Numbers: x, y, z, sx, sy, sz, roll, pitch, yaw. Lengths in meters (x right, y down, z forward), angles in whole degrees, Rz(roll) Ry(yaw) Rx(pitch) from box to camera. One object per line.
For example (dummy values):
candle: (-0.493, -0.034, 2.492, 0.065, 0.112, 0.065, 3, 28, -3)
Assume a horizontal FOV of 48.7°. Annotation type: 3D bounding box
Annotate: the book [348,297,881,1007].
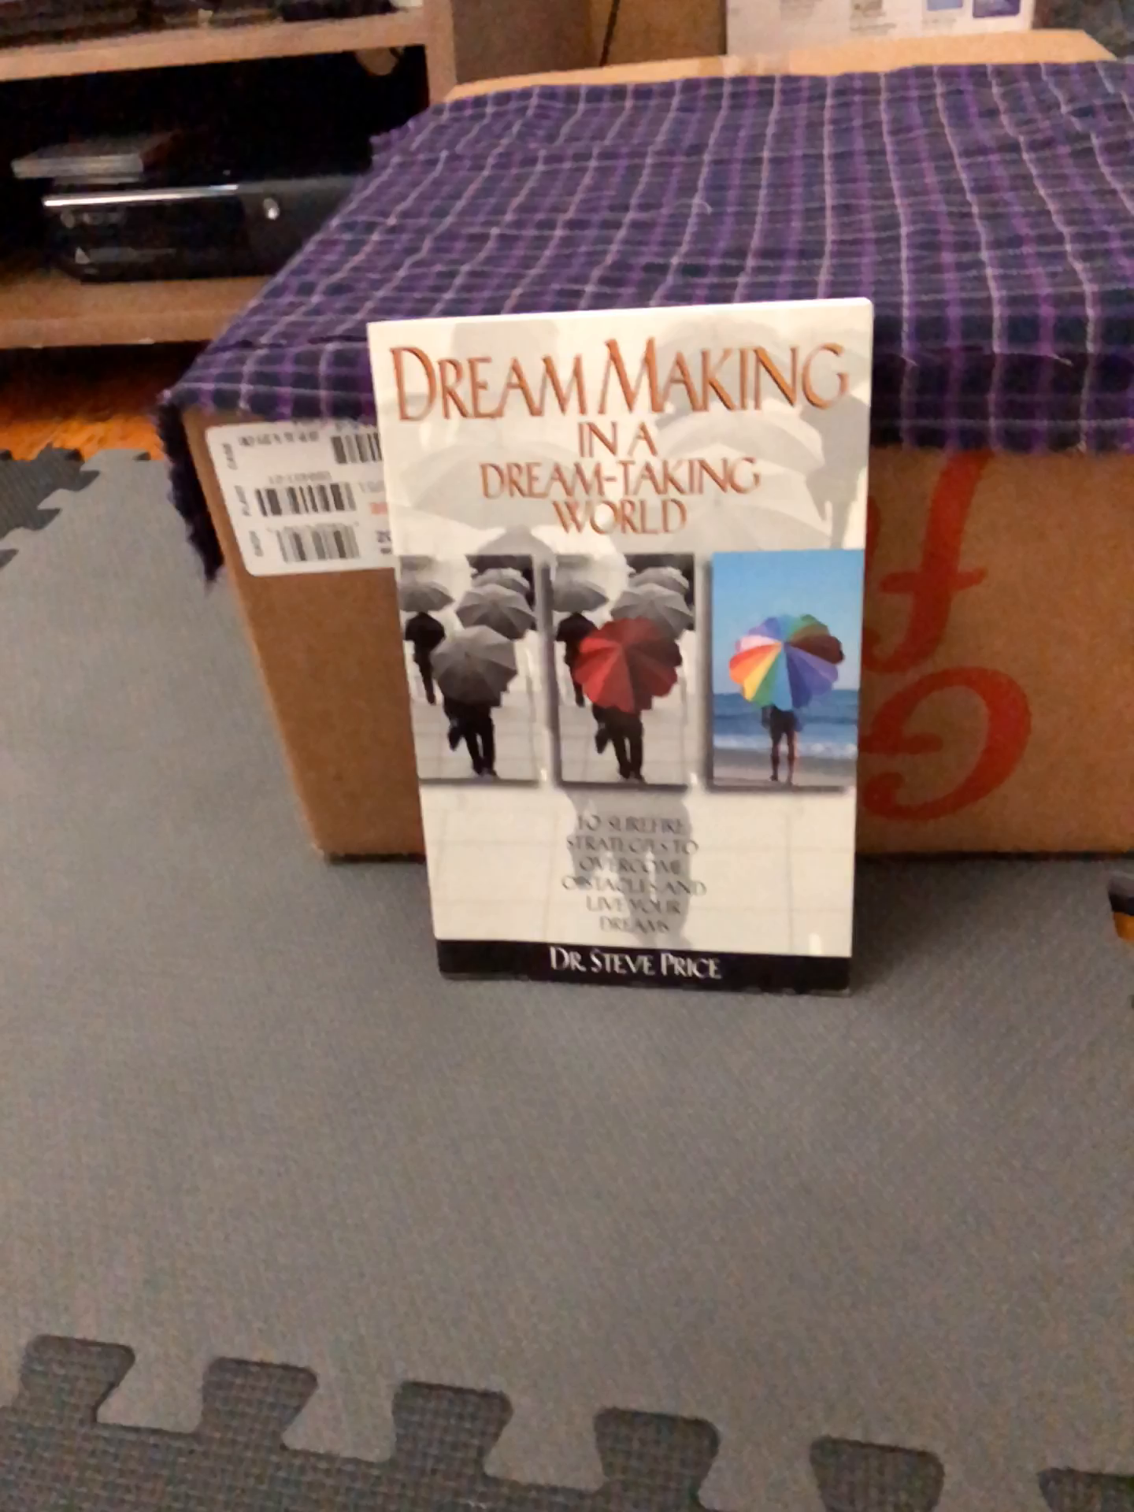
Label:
book: (0.020, -0.023, 0.398, 0.150, 0.219, 0.020, 1, 22, 12)
